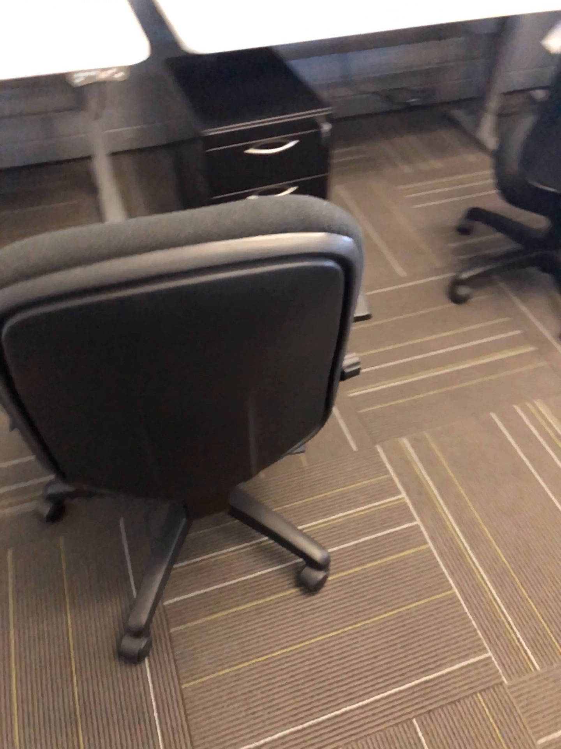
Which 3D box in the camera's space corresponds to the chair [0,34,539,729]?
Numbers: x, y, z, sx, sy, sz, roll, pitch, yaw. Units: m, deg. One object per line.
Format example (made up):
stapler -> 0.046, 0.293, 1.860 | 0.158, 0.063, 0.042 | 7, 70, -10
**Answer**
chair -> -0.180, 0.038, 1.165 | 0.740, 0.956, 0.683 | -14, 48, -13
